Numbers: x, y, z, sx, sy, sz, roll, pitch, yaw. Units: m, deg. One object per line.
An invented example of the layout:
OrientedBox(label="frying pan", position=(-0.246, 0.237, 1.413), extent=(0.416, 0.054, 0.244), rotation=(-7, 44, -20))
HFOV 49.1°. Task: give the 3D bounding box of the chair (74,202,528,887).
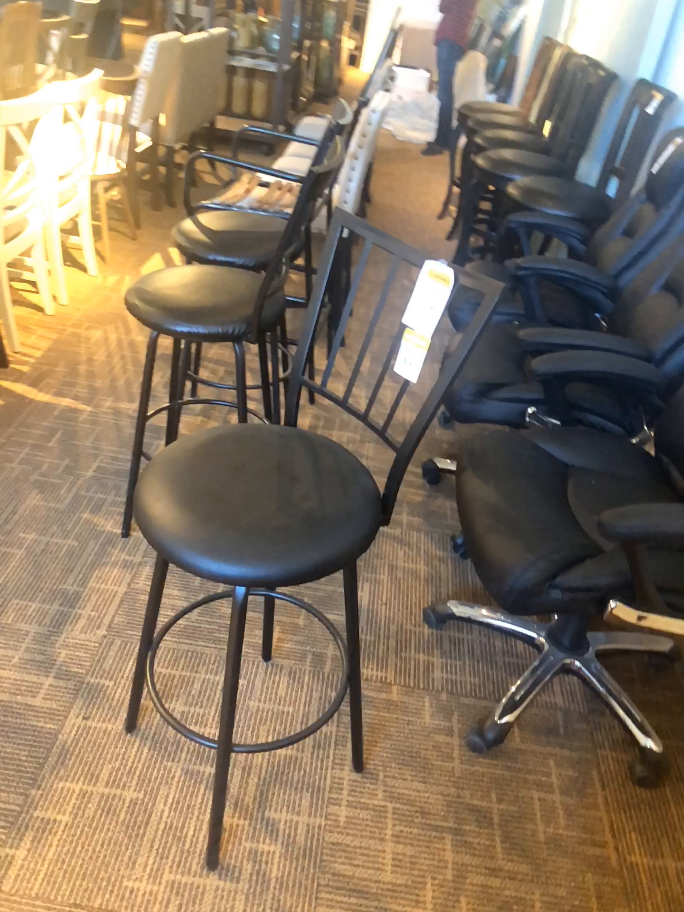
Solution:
OrientedBox(label="chair", position=(-0.126, 0.168, 1.344), extent=(0.481, 1.074, 0.431), rotation=(-19, 42, -37))
